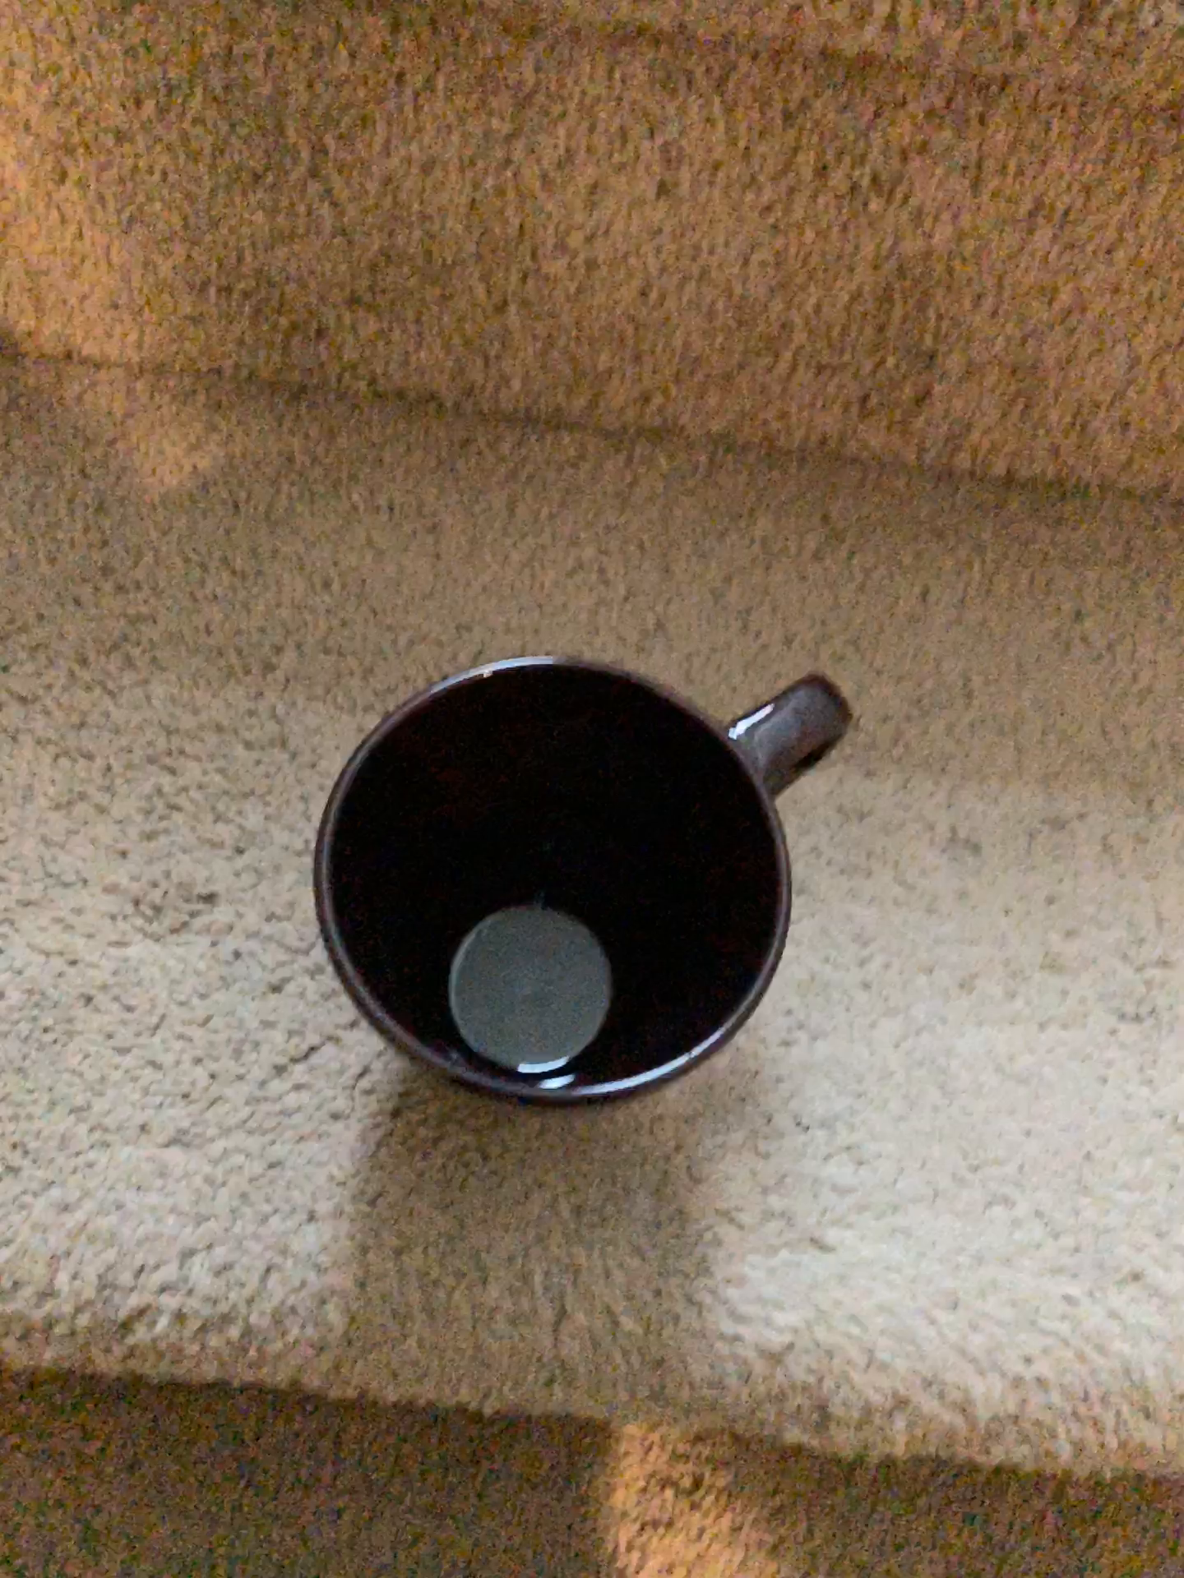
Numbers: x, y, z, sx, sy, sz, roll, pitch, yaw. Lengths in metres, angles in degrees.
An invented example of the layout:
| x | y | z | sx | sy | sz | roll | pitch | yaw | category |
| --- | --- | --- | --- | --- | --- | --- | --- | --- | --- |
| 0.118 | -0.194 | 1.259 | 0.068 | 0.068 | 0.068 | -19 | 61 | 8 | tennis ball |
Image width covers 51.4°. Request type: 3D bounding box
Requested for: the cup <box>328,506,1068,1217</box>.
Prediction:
| x | y | z | sx | sy | sz | roll | pitch | yaw | category |
| --- | --- | --- | --- | --- | --- | --- | --- | --- | --- |
| 0.016 | 0.020 | 0.269 | 0.110 | 0.099 | 0.080 | -30 | 70 | -18 | cup |
